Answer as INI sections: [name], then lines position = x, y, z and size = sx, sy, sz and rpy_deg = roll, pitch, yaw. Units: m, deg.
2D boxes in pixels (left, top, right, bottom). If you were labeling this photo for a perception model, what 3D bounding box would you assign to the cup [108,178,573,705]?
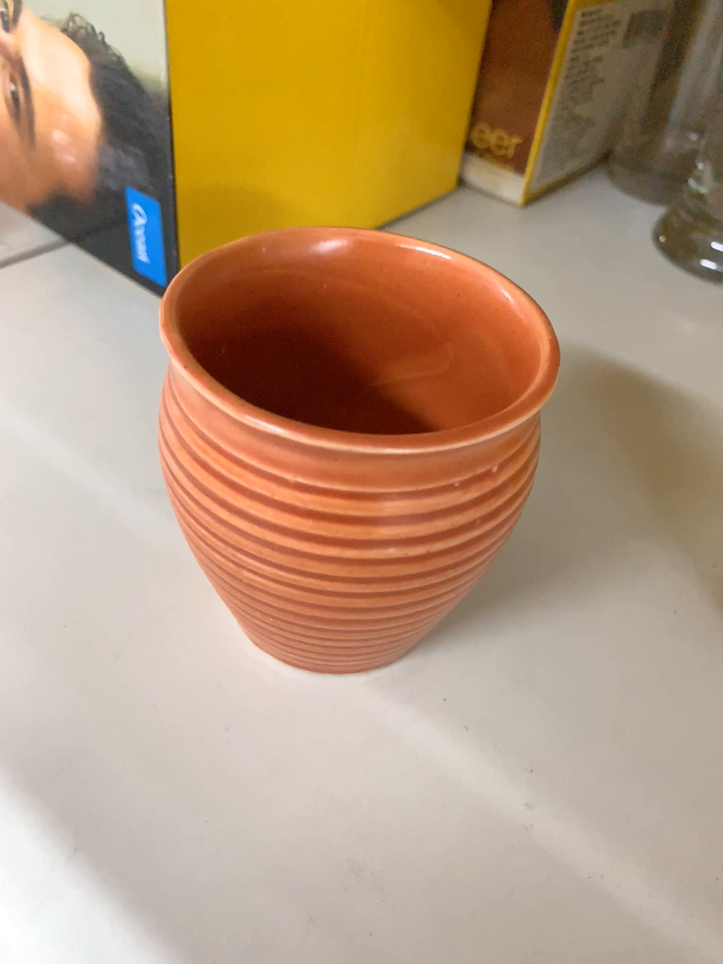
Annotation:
[cup]
position = -0.011, -0.009, 0.141
size = 0.060, 0.069, 0.060
rpy_deg = 4, 43, -4
